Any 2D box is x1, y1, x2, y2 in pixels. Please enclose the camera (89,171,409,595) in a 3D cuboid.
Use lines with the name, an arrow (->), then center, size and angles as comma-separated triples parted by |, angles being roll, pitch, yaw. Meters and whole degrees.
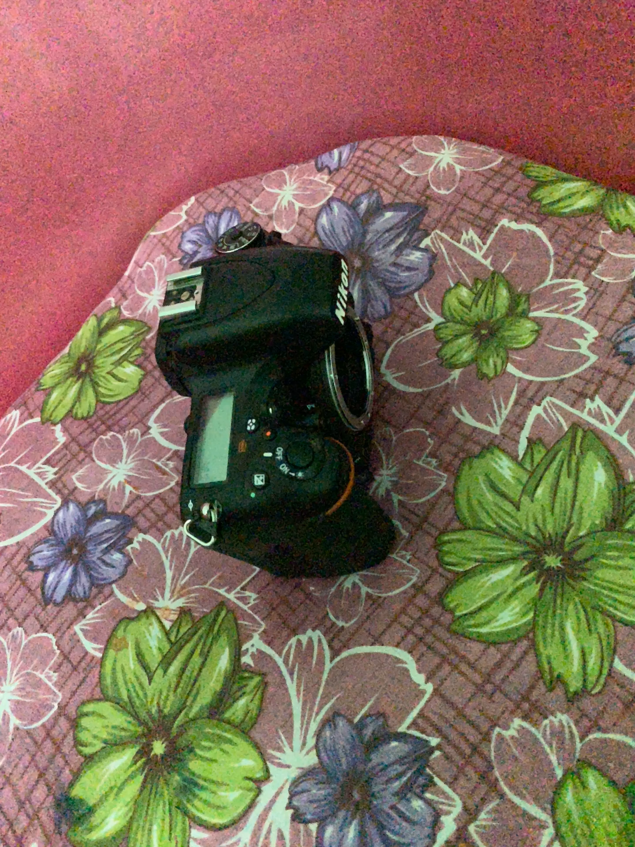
camera -> -0.018, -0.010, 0.271 | 0.093, 0.090, 0.140 | -6, 65, 14
